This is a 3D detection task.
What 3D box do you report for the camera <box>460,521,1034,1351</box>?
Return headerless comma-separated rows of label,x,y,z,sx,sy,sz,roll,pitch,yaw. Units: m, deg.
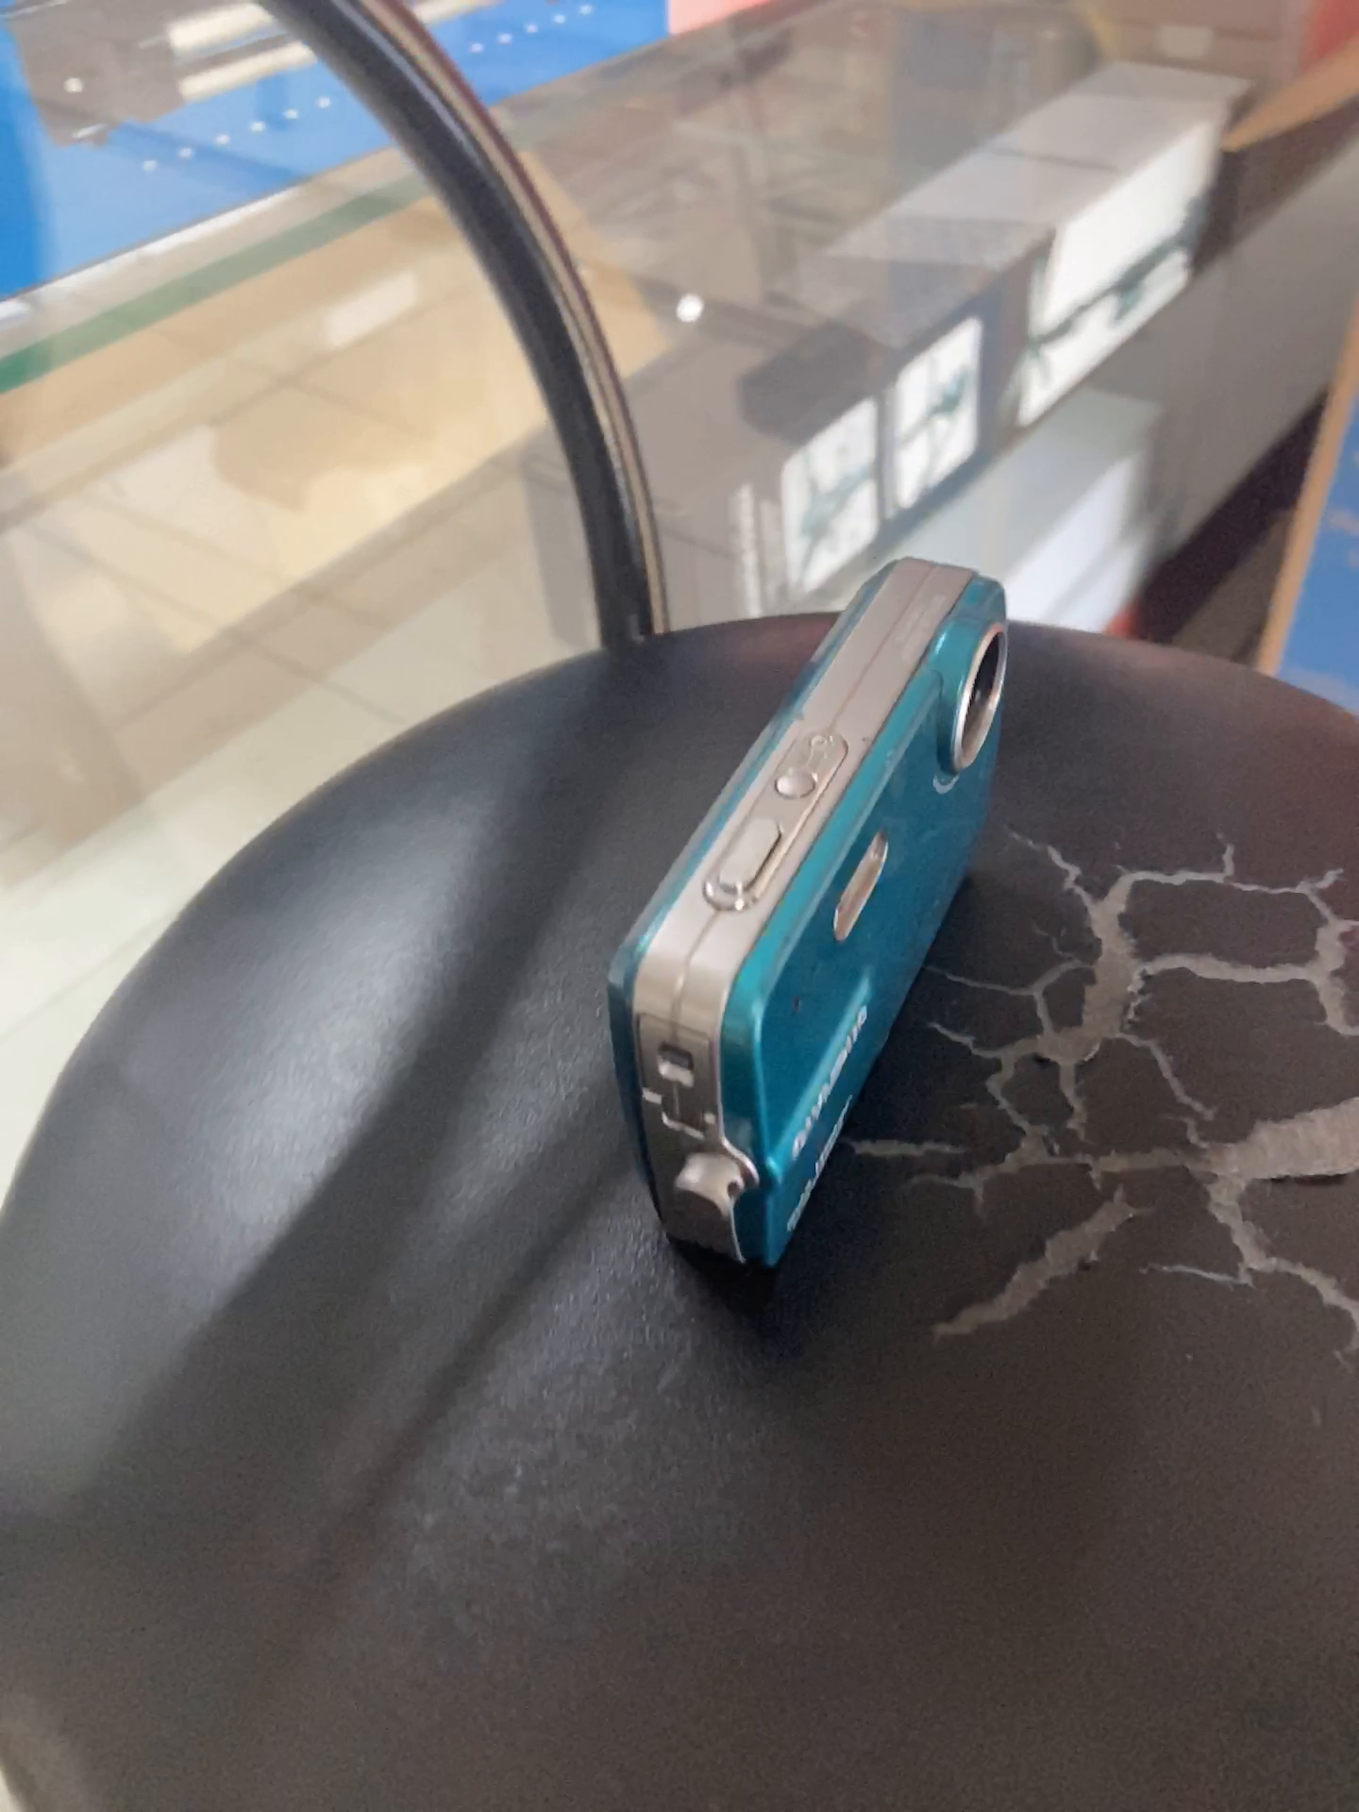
camera,0.015,-0.001,0.189,0.030,0.050,0.101,17,50,21
